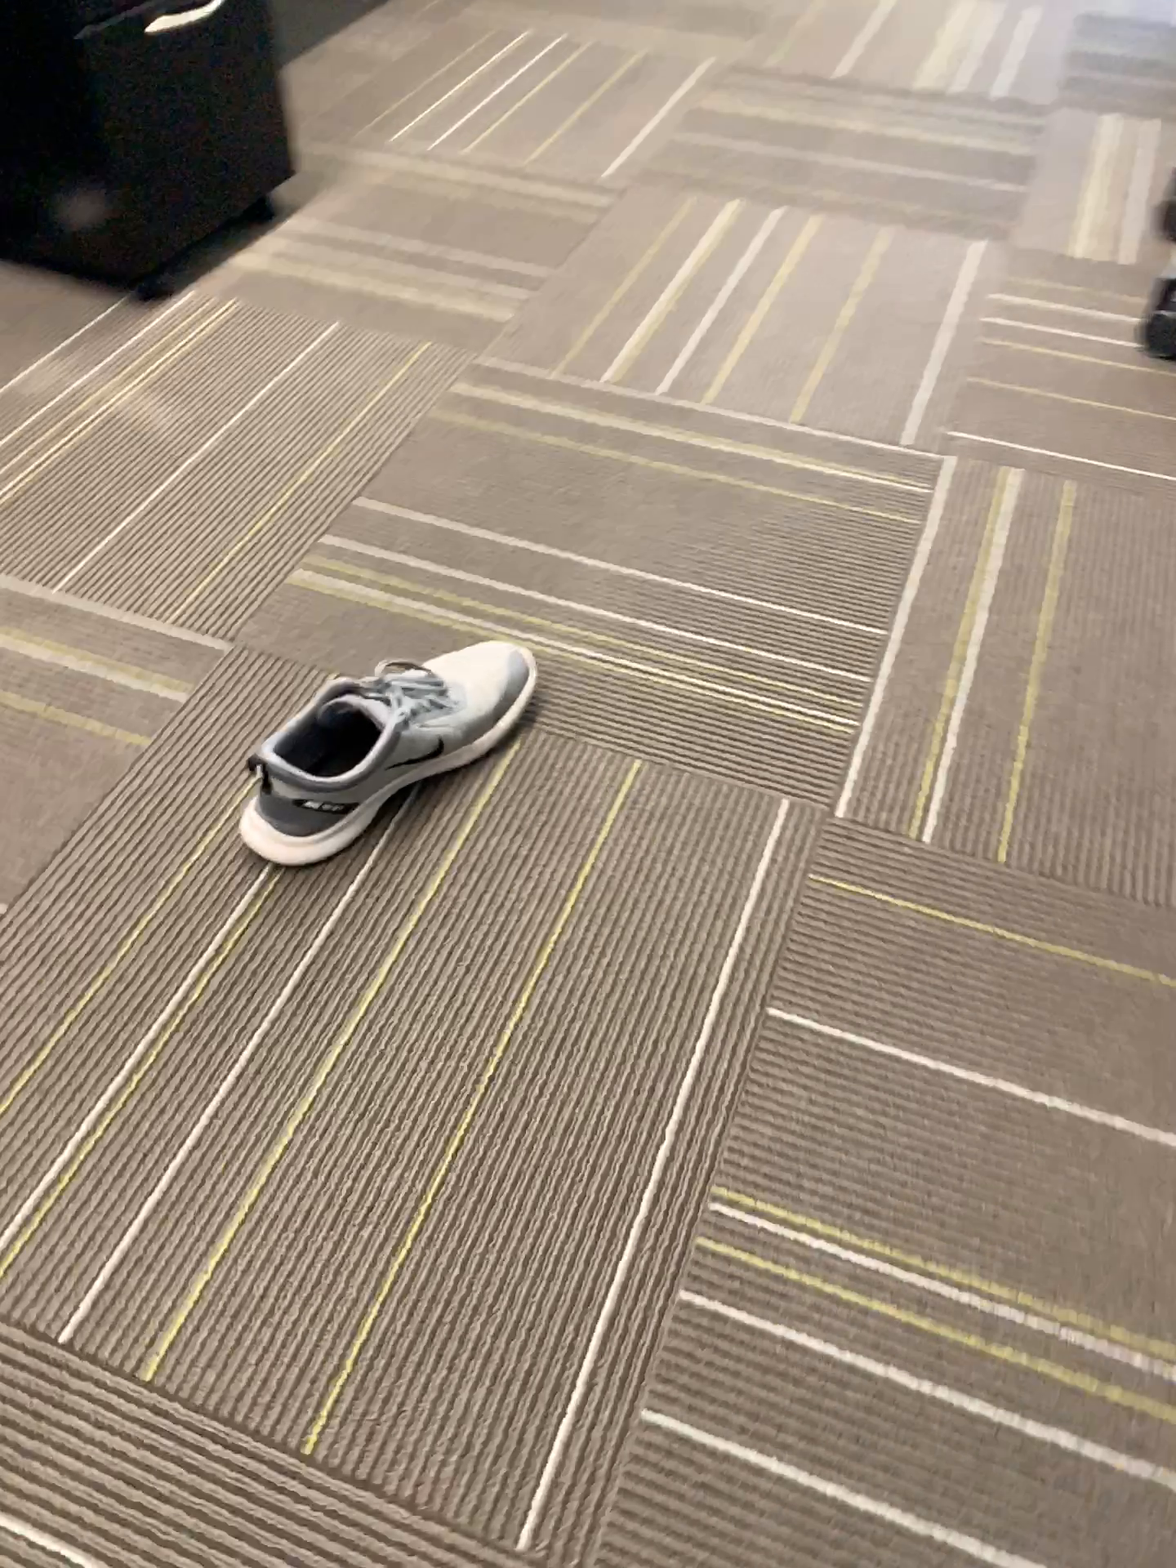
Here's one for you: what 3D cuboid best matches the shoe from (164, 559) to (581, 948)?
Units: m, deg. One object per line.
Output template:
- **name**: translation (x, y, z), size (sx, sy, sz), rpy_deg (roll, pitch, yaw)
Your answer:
- **shoe**: translation (-0.171, -0.040, 1.045), size (0.161, 0.109, 0.331), rpy_deg (30, 54, 23)
